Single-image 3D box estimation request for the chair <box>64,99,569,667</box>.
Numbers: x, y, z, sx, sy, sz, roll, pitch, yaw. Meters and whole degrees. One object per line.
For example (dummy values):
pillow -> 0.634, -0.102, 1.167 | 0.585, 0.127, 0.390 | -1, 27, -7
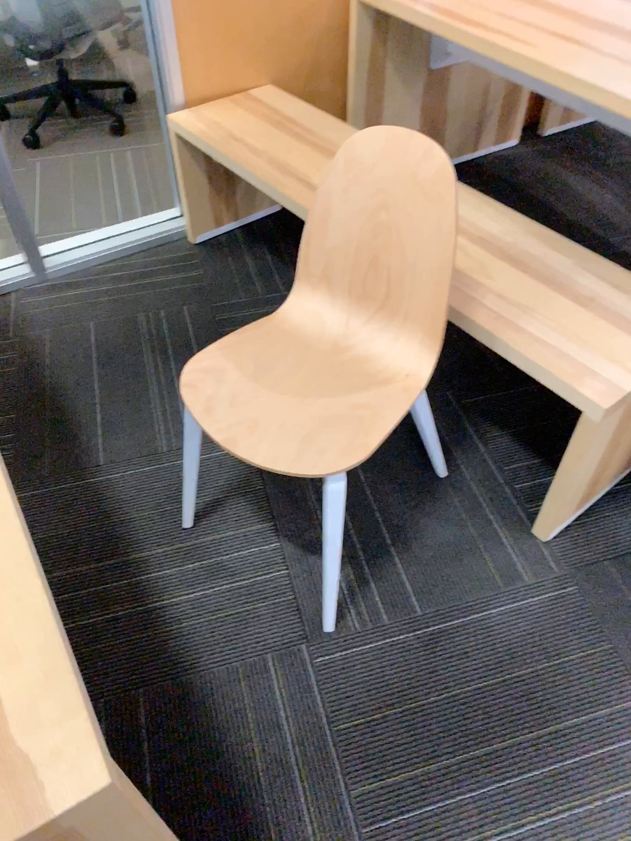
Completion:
chair -> 0.021, -0.064, 1.325 | 0.542, 0.836, 0.601 | 30, 54, 26
